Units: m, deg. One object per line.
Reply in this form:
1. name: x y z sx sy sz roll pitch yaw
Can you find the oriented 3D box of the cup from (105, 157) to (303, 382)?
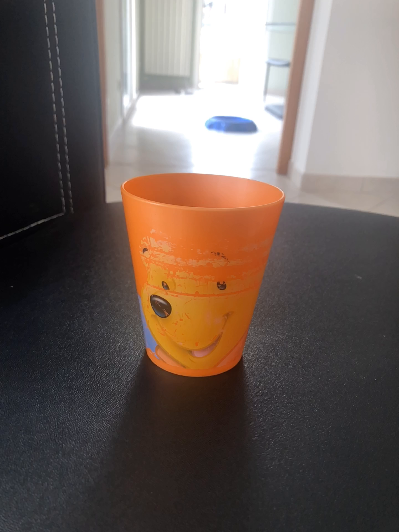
1. cup: -0.004 -0.002 0.233 0.080 0.090 0.080 3 24 -1
